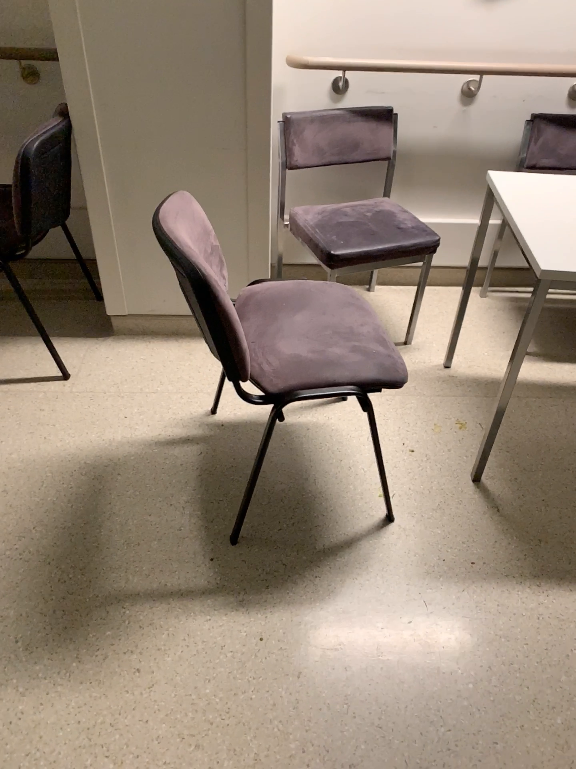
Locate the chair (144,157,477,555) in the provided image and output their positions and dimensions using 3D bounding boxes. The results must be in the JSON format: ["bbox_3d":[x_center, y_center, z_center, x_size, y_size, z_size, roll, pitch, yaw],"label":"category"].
[{"bbox_3d":[-0.016,-0.088,1.492,0.600,0.752,0.606,-5,39,-10],"label":"chair"}]

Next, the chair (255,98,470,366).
[{"bbox_3d":[0.206,-0.567,2.125,0.501,0.723,0.565,-12,41,-17],"label":"chair"}]
